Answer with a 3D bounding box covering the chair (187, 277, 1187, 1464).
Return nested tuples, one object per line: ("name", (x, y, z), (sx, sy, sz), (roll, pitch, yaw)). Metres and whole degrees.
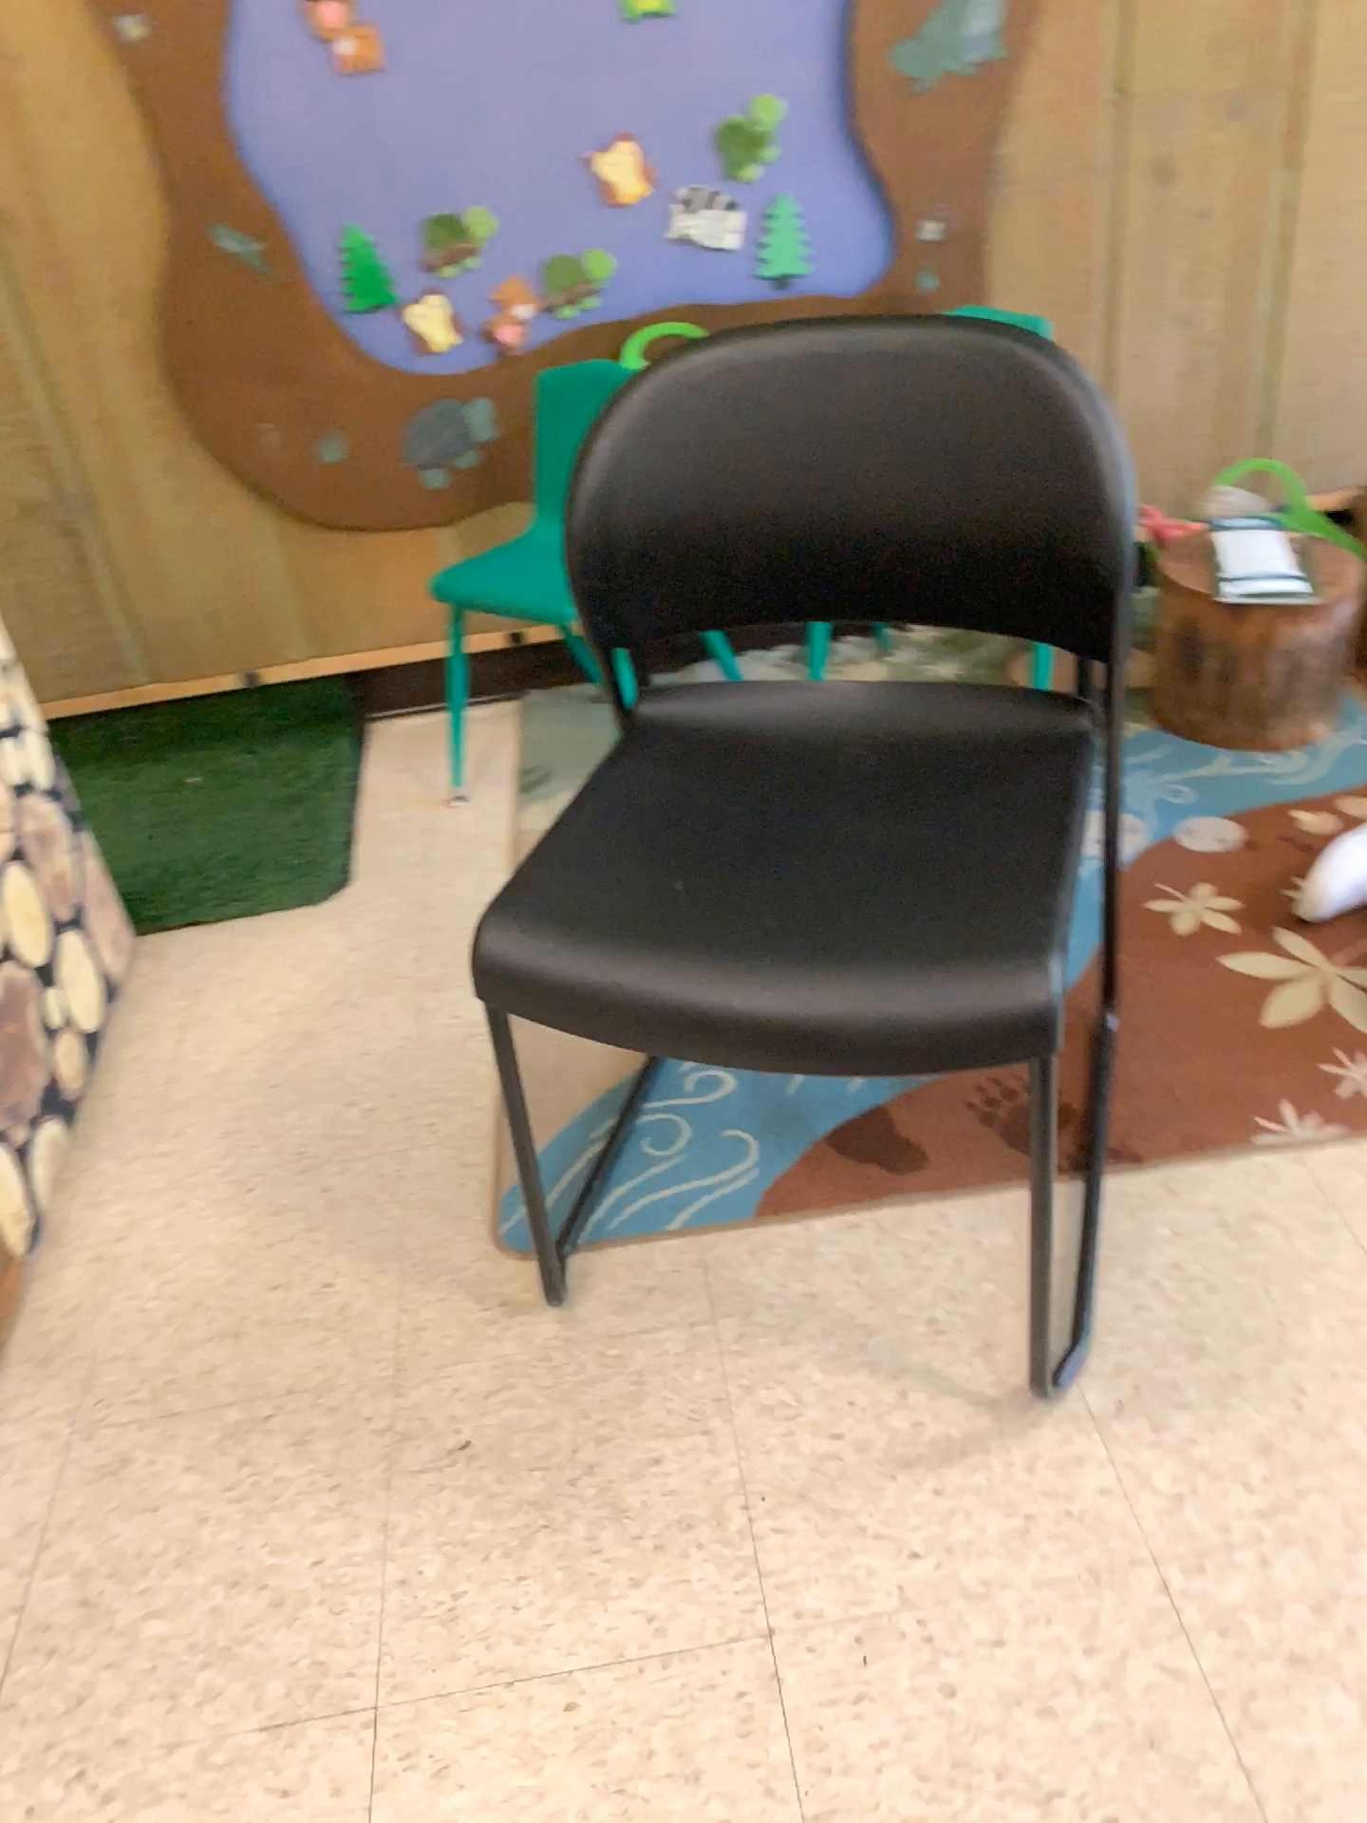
("chair", (0.094, -0.058, 1.239), (0.591, 0.785, 0.573), (5, 36, 18))
